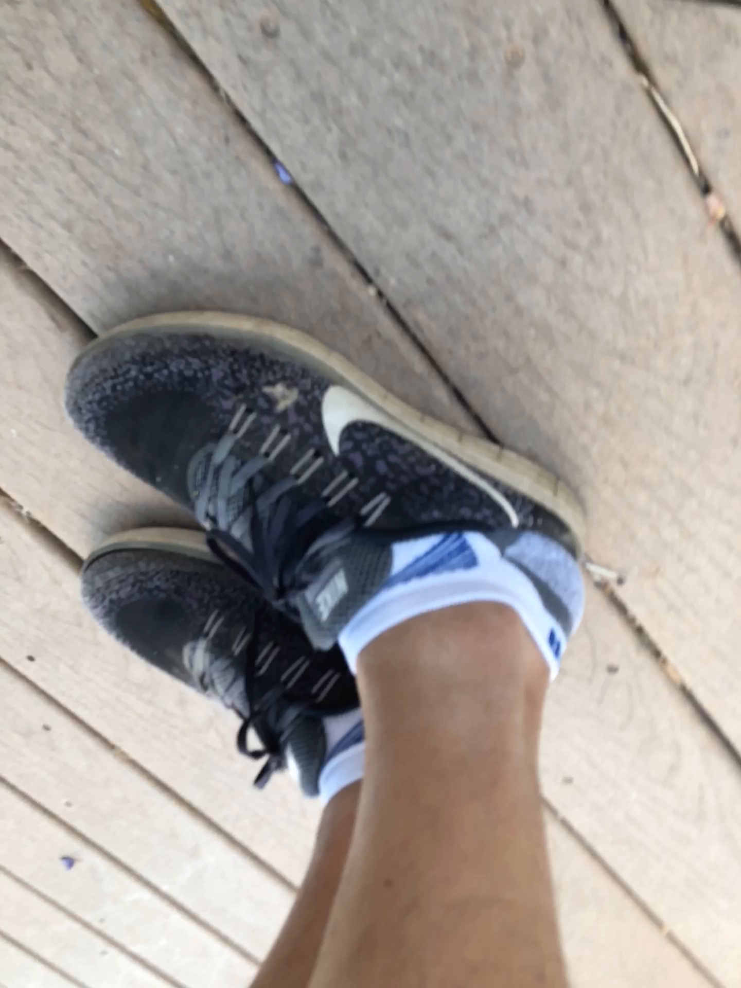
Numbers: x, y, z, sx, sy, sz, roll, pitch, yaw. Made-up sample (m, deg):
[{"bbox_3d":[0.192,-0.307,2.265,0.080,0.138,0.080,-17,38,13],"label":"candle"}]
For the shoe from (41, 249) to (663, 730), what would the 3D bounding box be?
[{"bbox_3d":[-0.011,-0.002,0.407,0.270,0.100,0.121,21,128,-1],"label":"shoe"}]

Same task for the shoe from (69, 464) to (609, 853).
[{"bbox_3d":[-0.022,0.101,0.497,0.300,0.090,0.121,19,128,1],"label":"shoe"}]

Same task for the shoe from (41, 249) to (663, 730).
[{"bbox_3d":[-0.011,-0.002,0.407,0.270,0.100,0.121,21,128,-1],"label":"shoe"}]
